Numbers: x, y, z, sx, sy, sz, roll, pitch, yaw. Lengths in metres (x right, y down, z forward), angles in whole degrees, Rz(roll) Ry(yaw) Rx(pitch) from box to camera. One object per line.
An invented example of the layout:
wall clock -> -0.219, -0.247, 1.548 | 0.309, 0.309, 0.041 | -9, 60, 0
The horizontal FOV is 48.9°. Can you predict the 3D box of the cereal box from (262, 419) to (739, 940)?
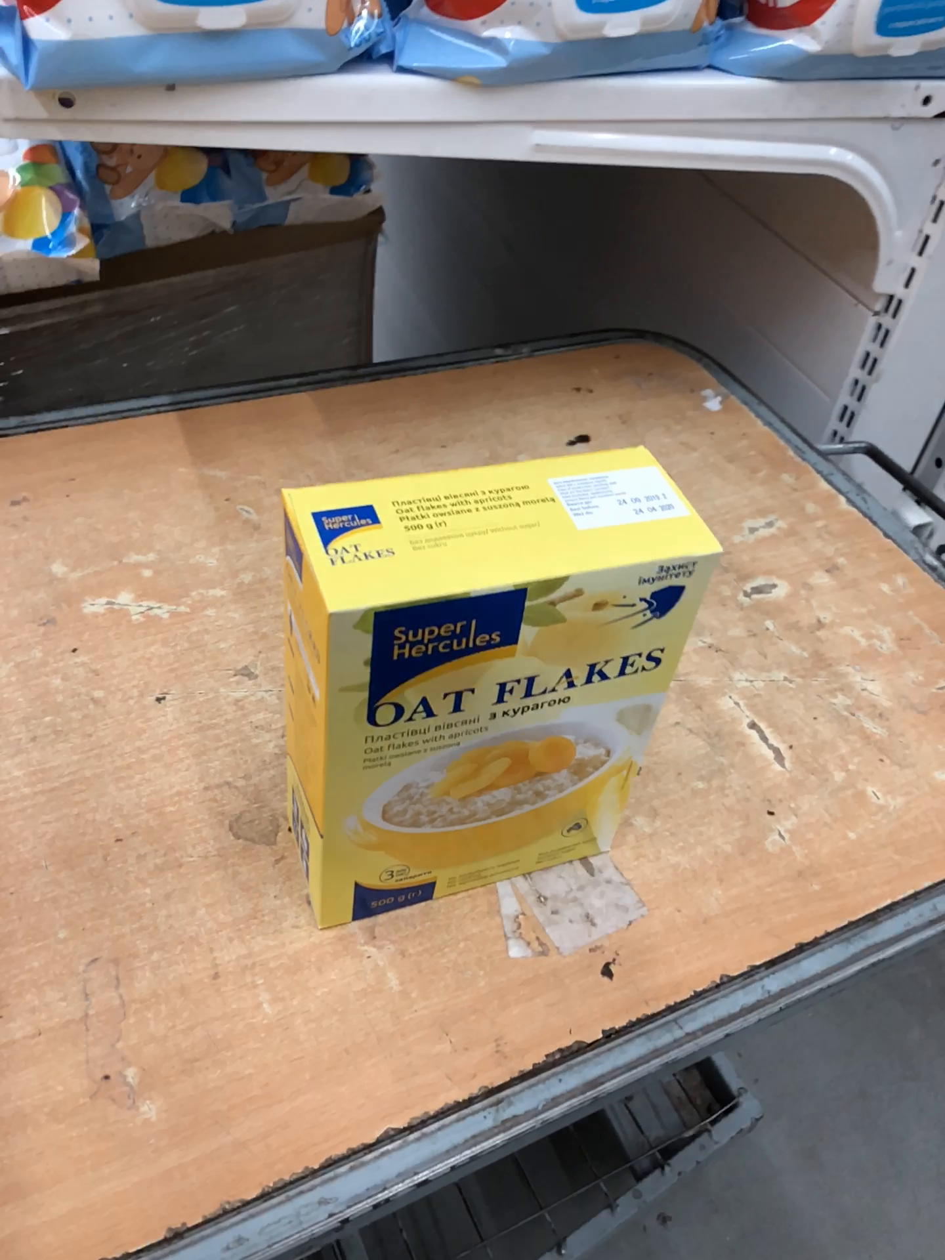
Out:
cereal box -> -0.001, 0.026, 0.434 | 0.150, 0.198, 0.081 | -10, 48, -18
